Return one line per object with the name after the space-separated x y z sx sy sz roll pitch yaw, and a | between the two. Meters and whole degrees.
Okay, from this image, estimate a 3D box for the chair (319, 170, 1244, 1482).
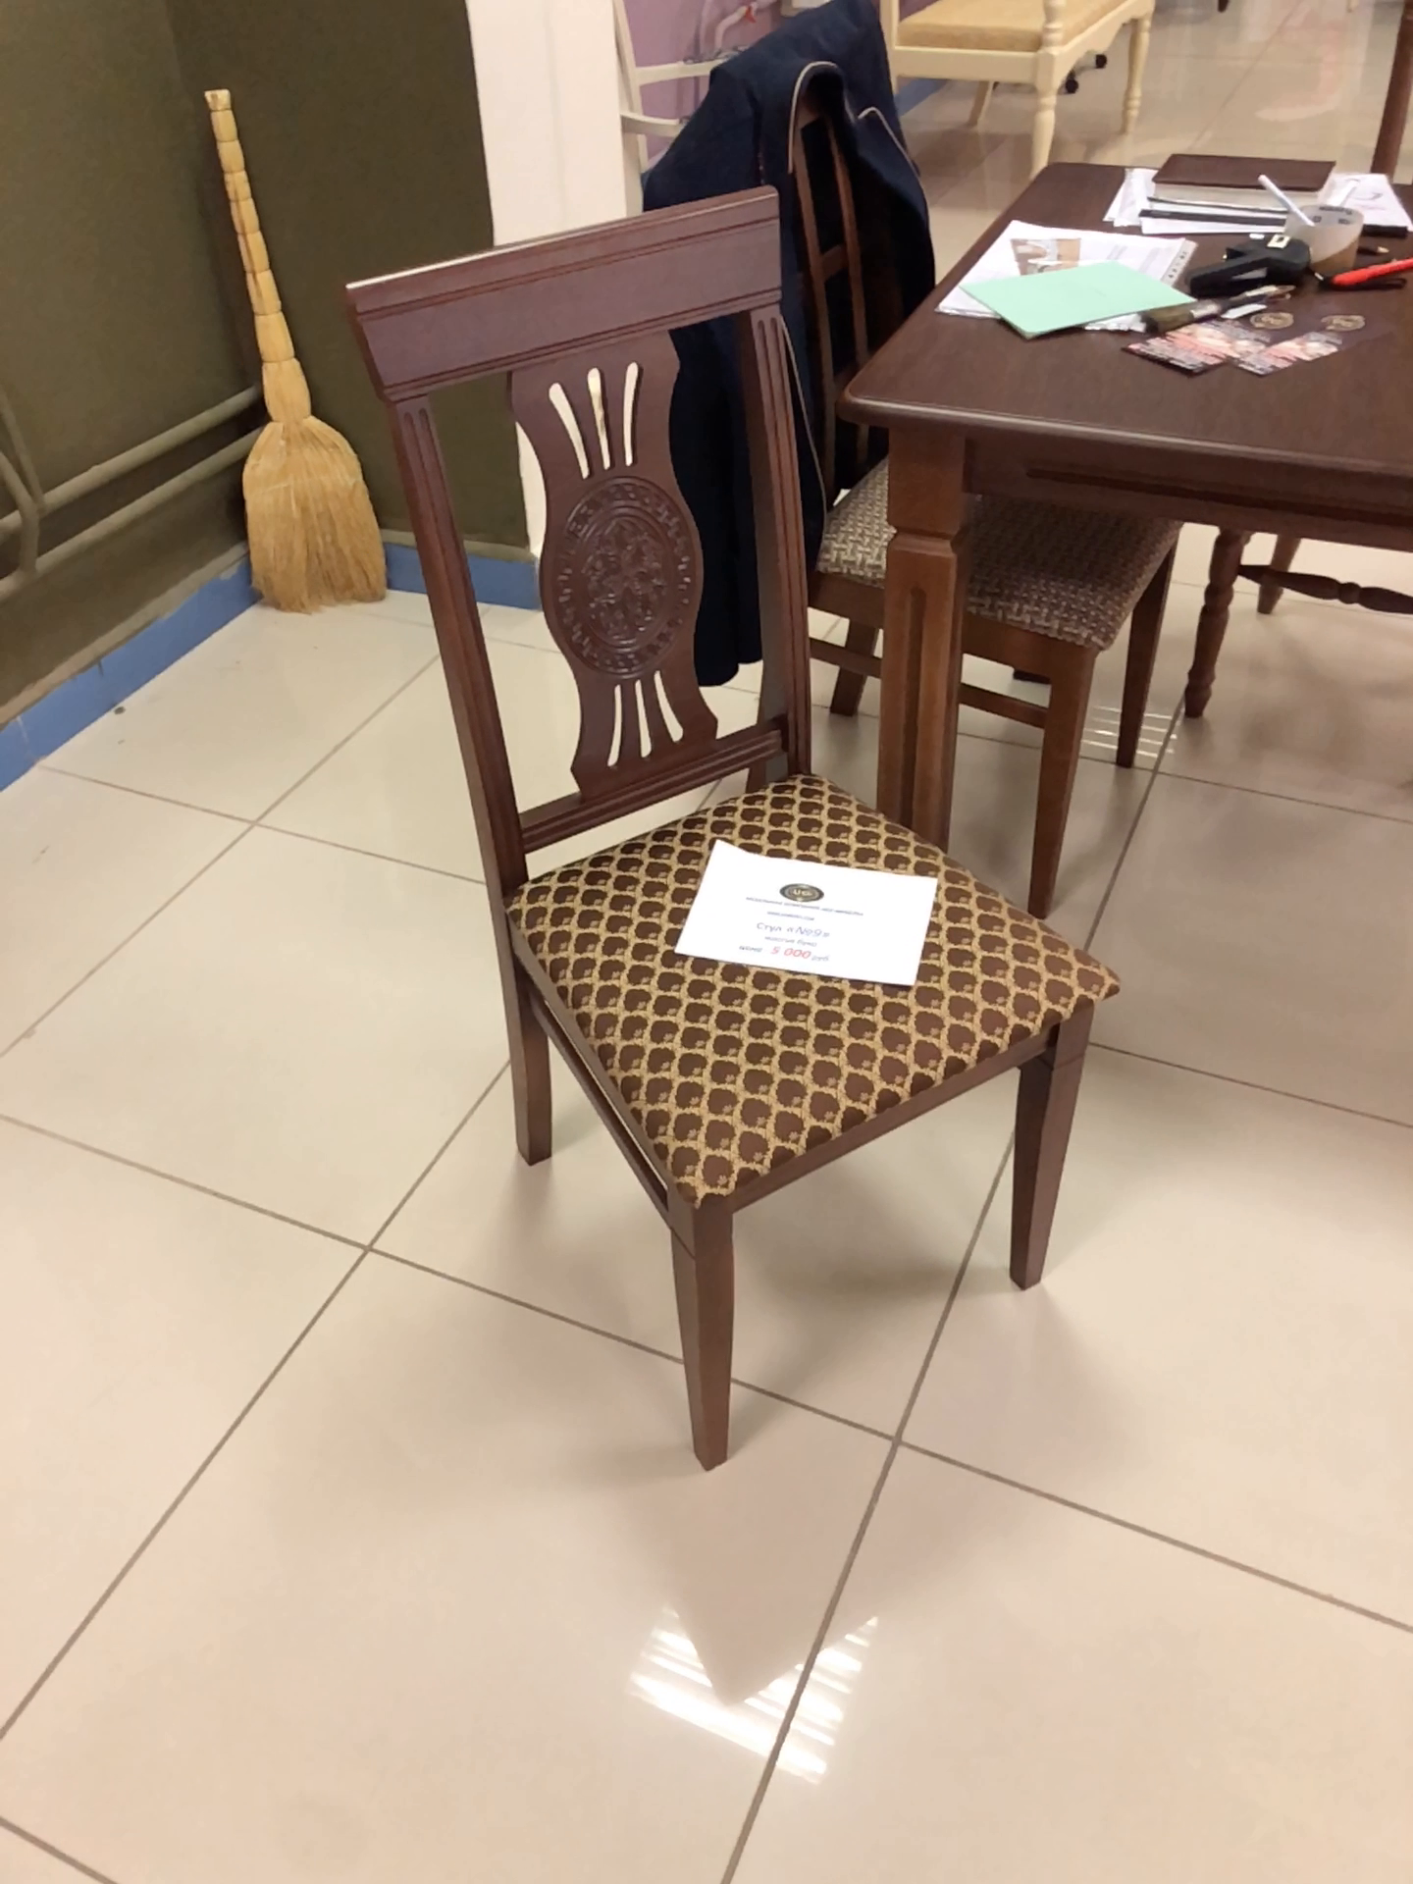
0.049 -0.076 1.345 0.436 0.935 0.472 -23 44 -22 | chair

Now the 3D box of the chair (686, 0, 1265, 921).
0.315 -0.584 1.945 0.490 0.955 0.432 16 43 22 | chair
